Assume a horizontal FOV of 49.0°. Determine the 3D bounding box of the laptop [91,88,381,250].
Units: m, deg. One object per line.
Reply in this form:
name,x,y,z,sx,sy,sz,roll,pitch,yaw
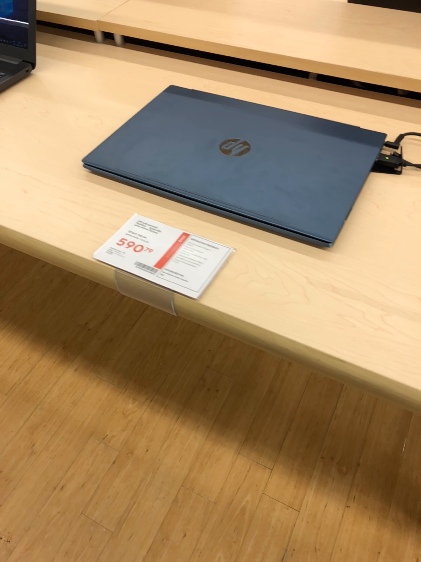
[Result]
laptop,0.033,-0.179,0.652,0.353,0.012,0.220,21,57,21
